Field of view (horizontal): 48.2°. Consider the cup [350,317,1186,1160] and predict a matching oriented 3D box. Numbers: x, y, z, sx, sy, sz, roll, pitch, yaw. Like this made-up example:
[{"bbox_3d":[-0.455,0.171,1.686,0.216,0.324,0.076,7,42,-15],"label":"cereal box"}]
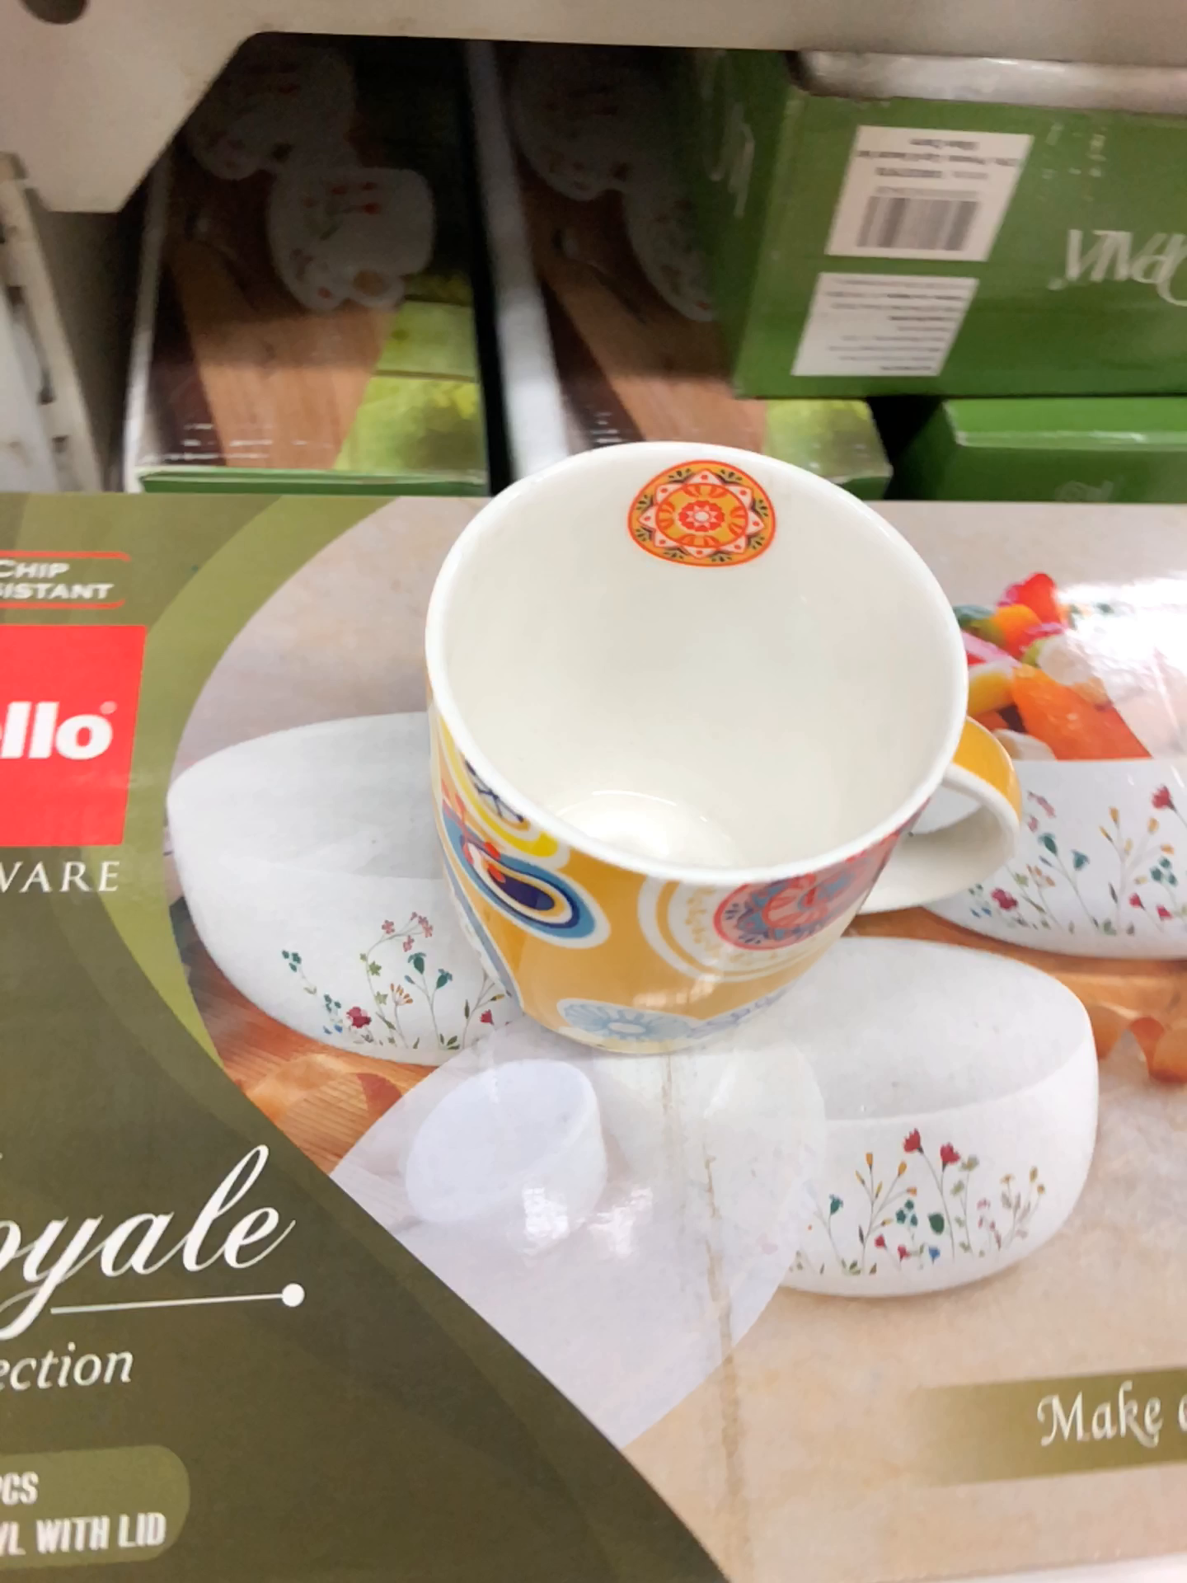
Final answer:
[{"bbox_3d":[0.031,-0.005,0.222,0.120,0.089,0.091,8,56,-2],"label":"cup"}]
